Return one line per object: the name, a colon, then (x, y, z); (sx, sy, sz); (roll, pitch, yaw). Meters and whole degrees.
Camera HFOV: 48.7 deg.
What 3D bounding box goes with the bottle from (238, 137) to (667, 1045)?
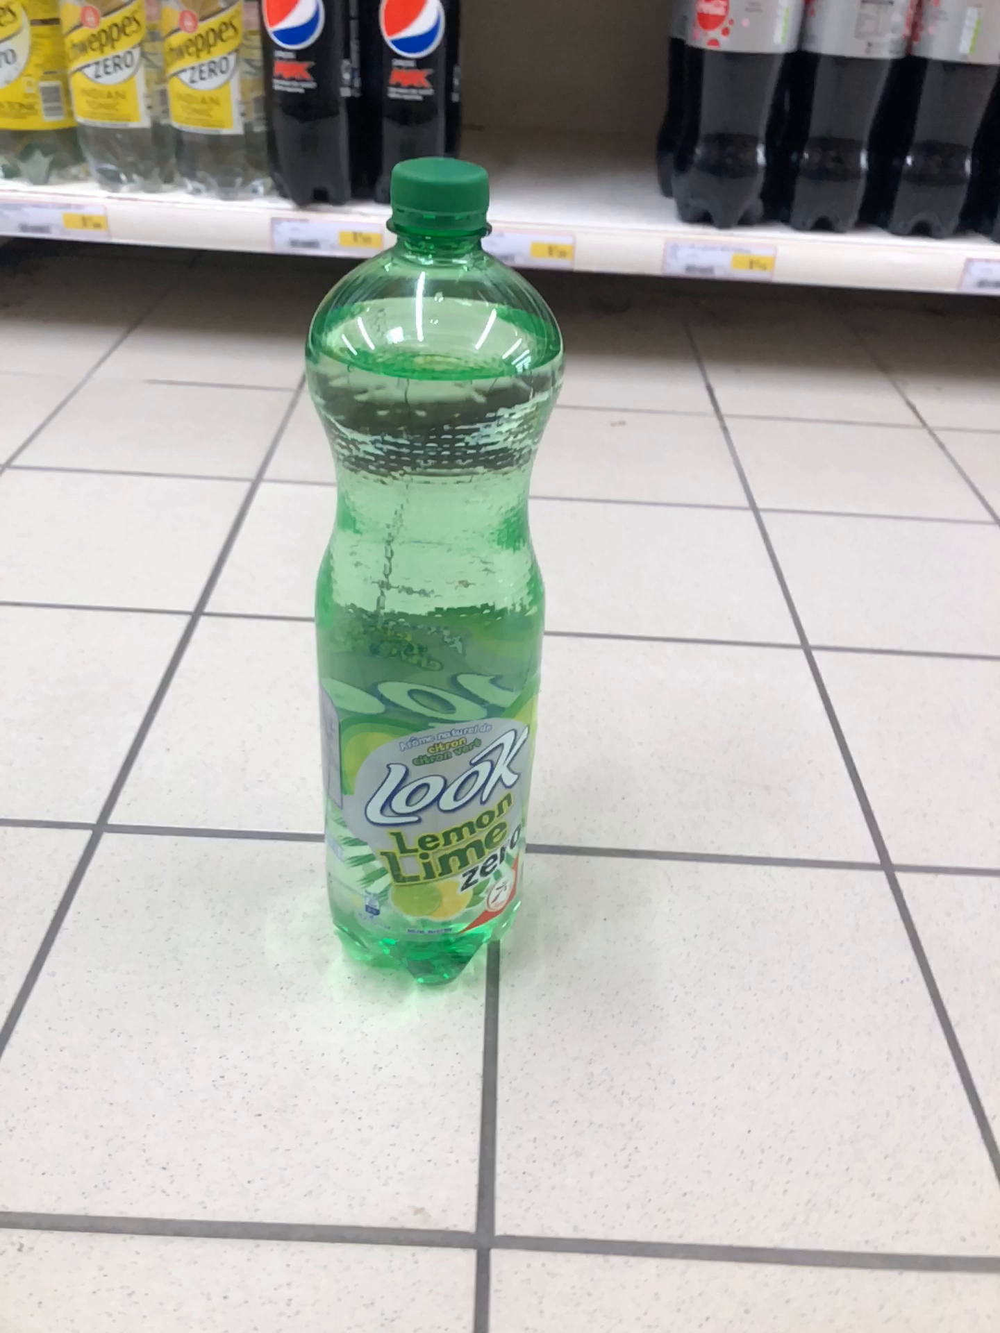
bottle: (-0.027, -0.014, 0.412); (0.100, 0.318, 0.100); (3, 33, -2)
